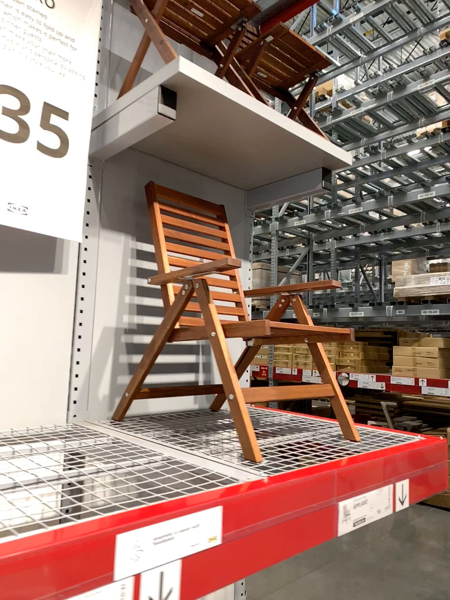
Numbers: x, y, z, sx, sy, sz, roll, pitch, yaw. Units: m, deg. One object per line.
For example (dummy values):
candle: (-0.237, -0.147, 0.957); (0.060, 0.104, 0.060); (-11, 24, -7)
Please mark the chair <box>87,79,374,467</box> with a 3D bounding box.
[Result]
chair: (0.007, -0.049, 1.761); (0.614, 1.056, 0.891); (8, -8, -44)
